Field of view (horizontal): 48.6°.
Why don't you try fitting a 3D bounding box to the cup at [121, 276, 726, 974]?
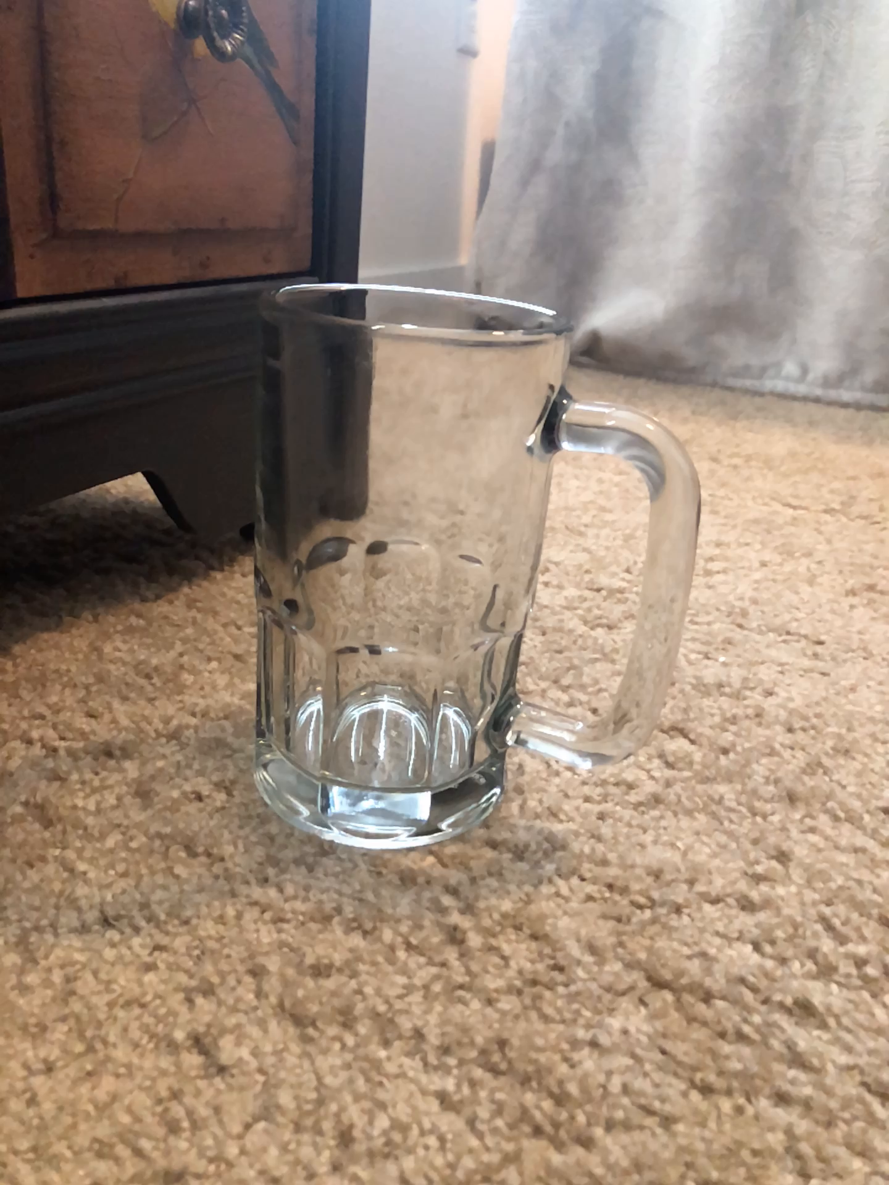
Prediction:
[{"bbox_3d":[-0.005,-0.004,0.286,0.133,0.156,0.097,12,21,19],"label":"cup"}]
